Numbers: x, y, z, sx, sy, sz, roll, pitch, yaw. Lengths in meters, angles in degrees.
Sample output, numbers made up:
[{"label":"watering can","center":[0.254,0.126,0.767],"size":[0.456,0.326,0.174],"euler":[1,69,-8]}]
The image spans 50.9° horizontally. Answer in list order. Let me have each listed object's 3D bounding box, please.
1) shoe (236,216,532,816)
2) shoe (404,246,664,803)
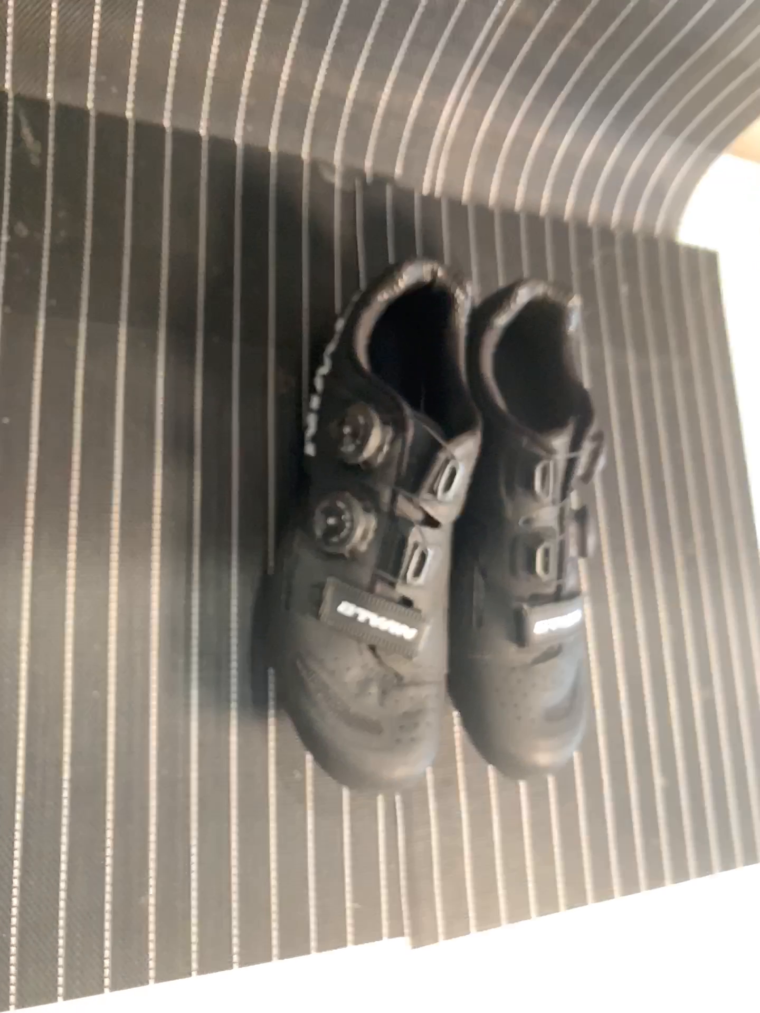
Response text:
[{"label":"shoe","center":[0.003,0.008,0.398],"size":[0.100,0.090,0.260],"euler":[10,76,-22]},{"label":"shoe","center":[0.080,0.012,0.441],"size":[0.100,0.090,0.270],"euler":[6,78,-23]}]
